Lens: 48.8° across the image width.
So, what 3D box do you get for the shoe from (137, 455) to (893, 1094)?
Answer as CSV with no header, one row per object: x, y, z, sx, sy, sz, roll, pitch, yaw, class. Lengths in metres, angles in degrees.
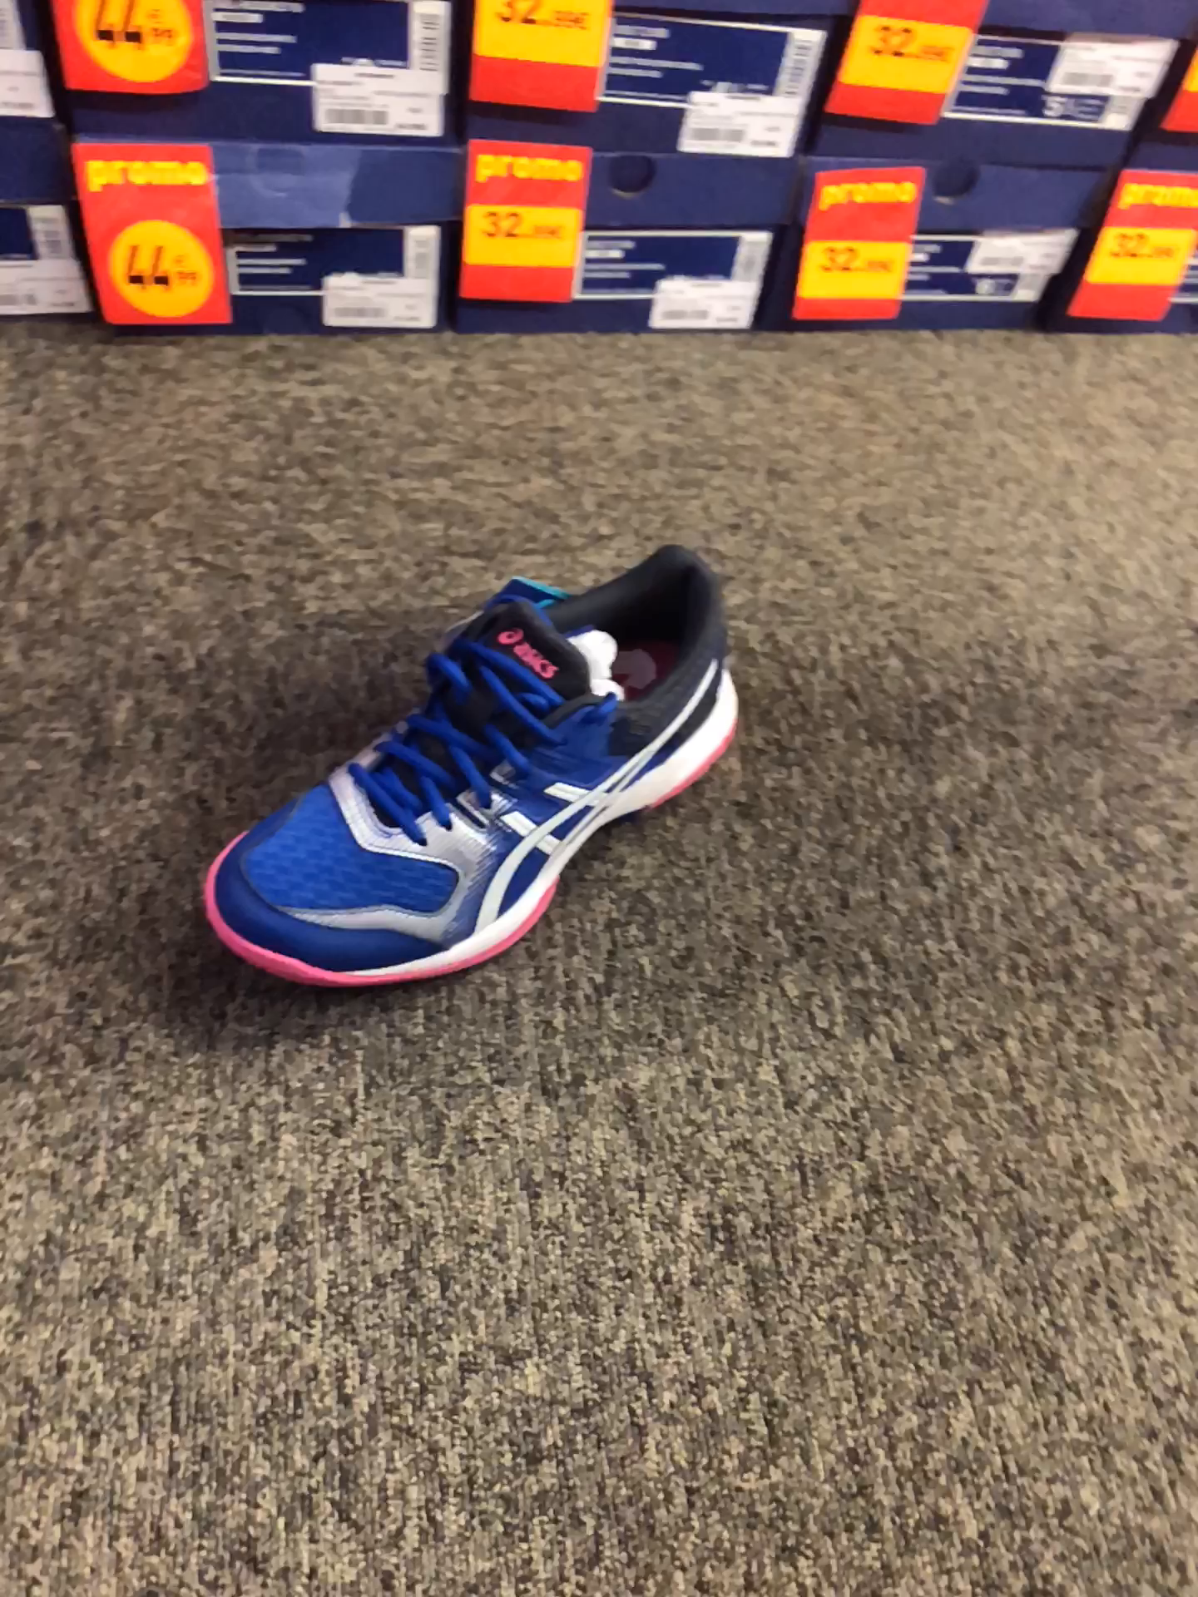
-0.028,-0.021,0.549,0.271,0.099,0.125,-31,65,-27,shoe
